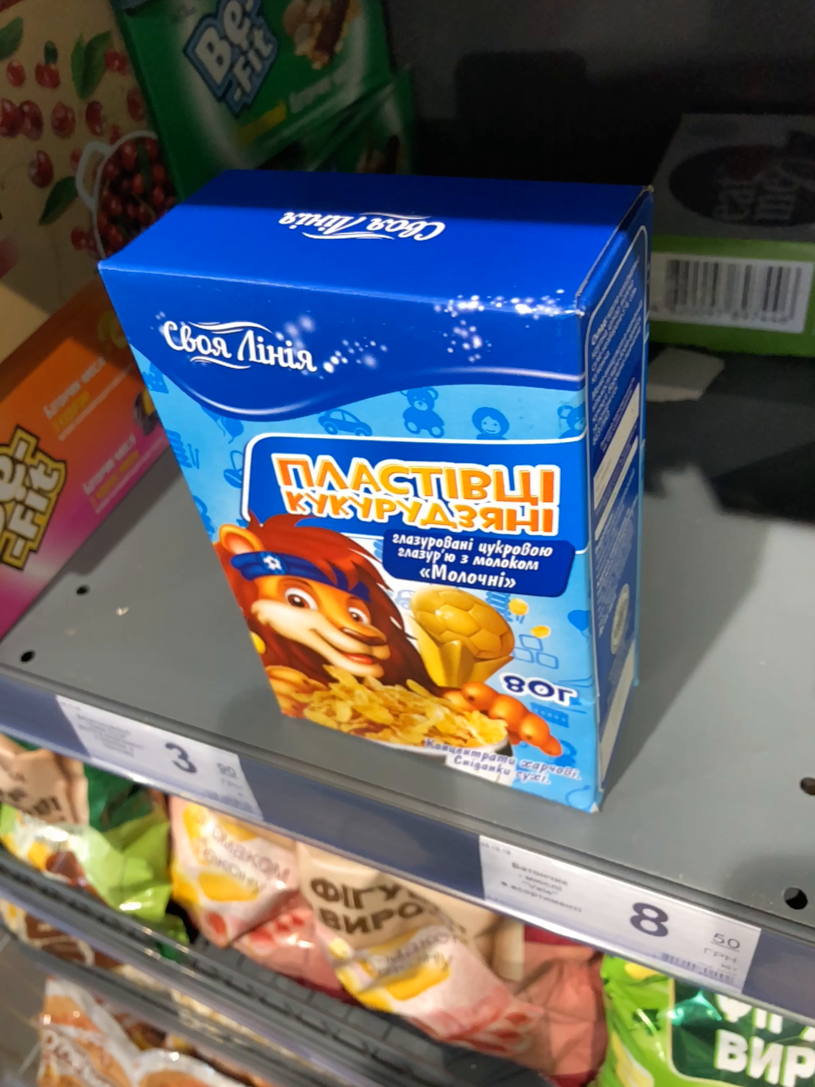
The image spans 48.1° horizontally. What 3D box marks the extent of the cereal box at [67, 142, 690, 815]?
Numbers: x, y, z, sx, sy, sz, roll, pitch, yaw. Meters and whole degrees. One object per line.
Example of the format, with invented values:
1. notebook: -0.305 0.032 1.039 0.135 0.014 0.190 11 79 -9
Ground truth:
1. cereal box: 0.004 -0.012 0.253 0.120 0.169 0.060 12 48 22
